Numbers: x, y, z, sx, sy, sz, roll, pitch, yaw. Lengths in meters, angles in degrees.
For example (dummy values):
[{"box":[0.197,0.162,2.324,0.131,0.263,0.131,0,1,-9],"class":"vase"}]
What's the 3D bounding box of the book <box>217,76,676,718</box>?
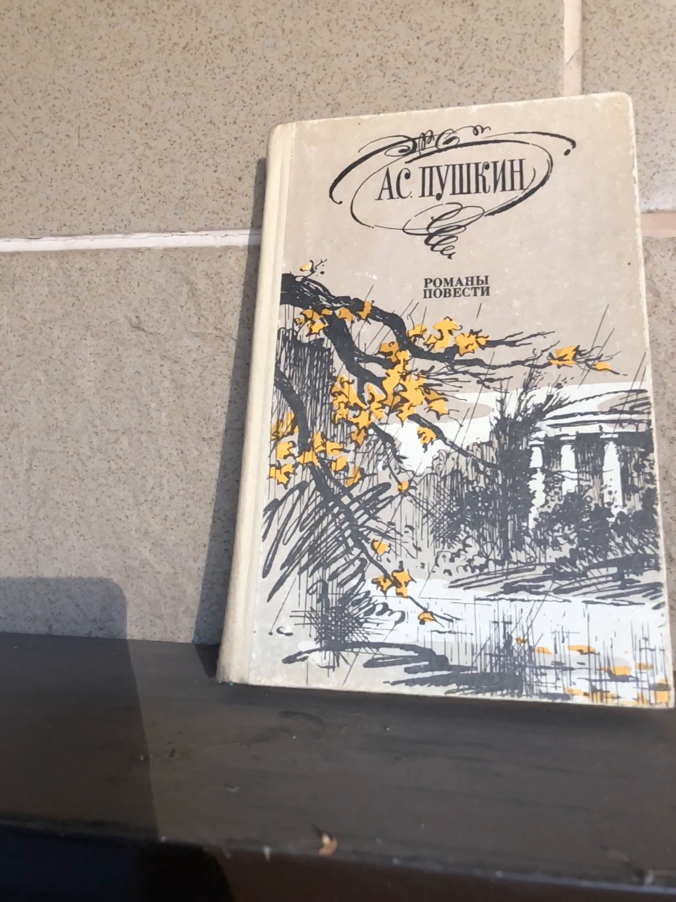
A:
[{"box":[0.037,-0.023,0.249,0.125,0.198,0.040,1,-16,10],"class":"book"}]
